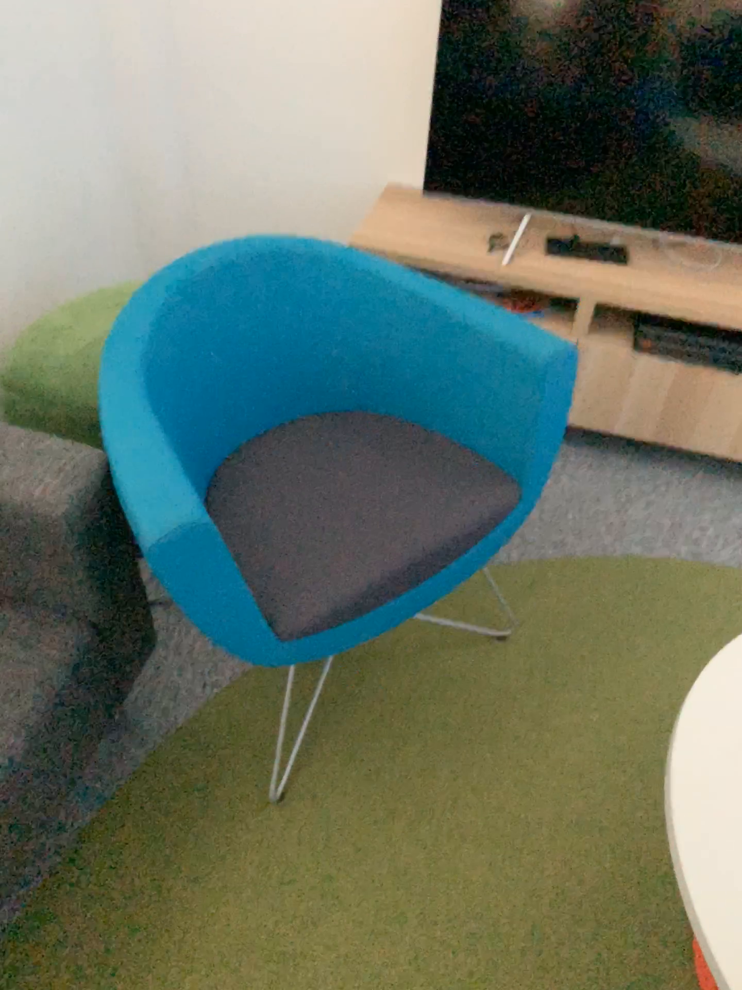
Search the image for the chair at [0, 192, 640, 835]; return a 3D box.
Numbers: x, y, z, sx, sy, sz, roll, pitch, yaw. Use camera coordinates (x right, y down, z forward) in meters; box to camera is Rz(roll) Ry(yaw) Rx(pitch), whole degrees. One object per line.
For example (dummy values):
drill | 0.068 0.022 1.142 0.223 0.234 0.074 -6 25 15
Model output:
chair | -0.100 -0.014 1.380 0.762 0.686 0.622 -28 52 -29
